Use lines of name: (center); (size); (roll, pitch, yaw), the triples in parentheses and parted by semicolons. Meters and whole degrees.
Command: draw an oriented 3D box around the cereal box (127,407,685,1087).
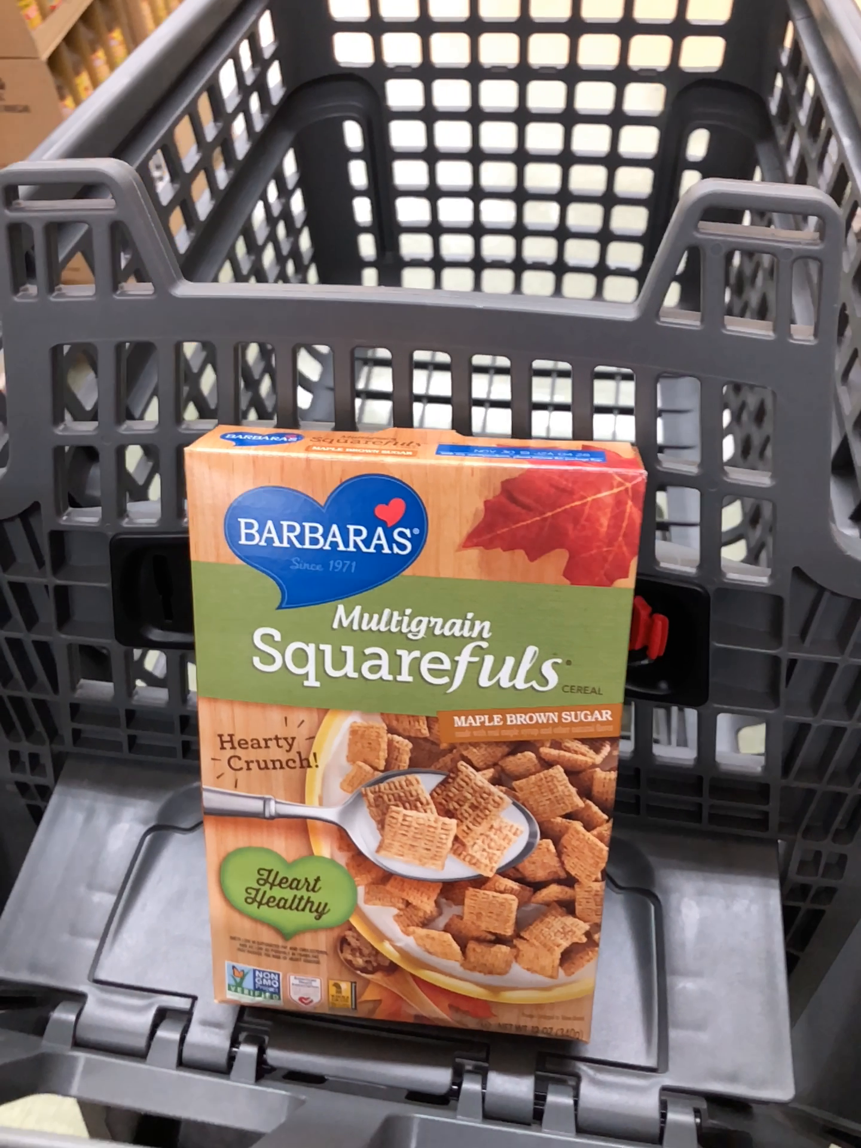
cereal box: (-0.011, 0.071, 0.390); (0.190, 0.260, 0.060); (4, 18, 7)
